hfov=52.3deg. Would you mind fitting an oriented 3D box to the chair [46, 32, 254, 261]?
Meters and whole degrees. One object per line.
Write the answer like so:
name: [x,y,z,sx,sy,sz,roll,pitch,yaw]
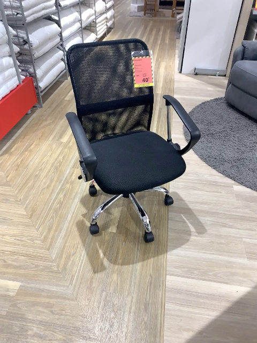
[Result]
chair: [0.031,-0.144,1.330,0.641,0.865,0.603,-13,41,-18]
